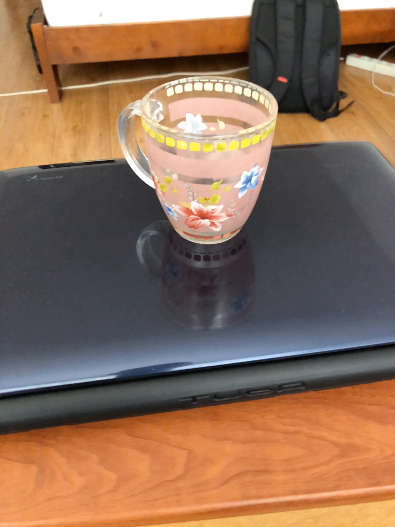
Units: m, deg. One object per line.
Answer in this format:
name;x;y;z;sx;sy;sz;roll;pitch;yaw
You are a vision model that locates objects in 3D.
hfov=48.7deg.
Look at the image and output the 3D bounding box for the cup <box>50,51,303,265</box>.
cup;-0.011;-0.079;0.305;0.130;0.081;0.095;21;49;21
